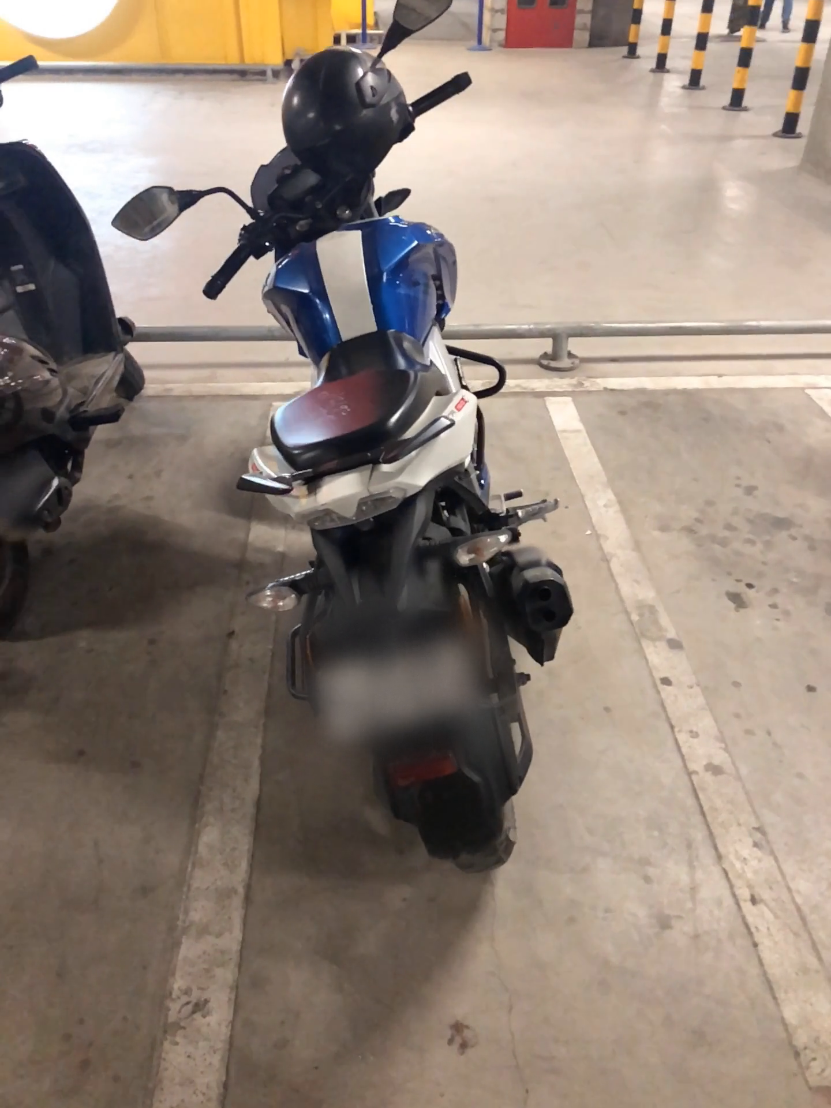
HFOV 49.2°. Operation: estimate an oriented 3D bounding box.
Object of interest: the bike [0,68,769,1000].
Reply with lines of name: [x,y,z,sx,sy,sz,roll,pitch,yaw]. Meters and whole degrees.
bike: [-0.221,-0.315,2.014,0.806,1.162,1.995,-5,34,-8]
